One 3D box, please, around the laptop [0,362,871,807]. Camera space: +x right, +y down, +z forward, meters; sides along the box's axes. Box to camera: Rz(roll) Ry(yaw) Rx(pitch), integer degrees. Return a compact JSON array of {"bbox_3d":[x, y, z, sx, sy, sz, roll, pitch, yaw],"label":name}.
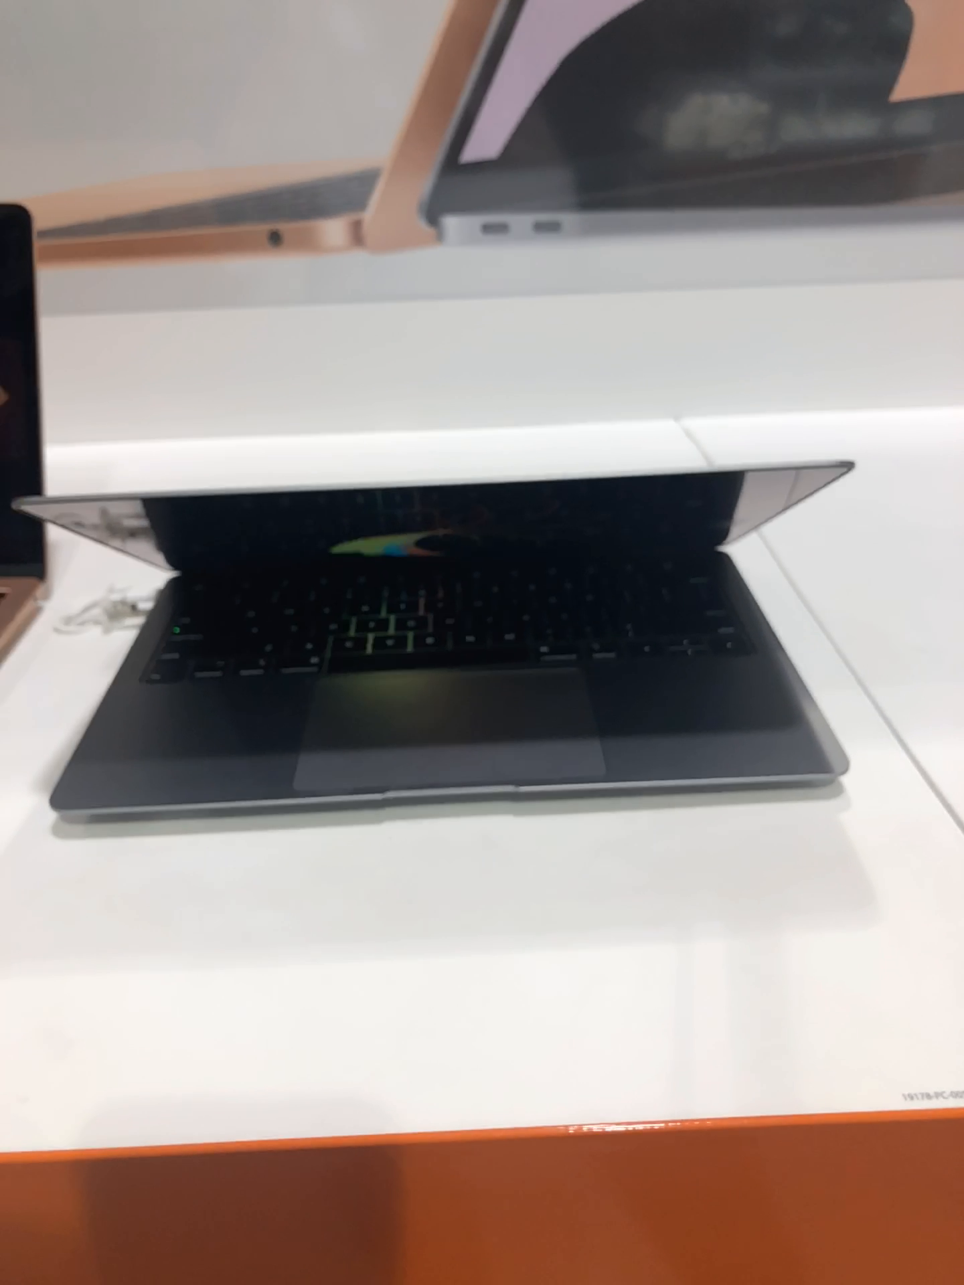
[{"bbox_3d":[-0.018,-0.039,0.462,0.288,0.102,0.200,-2,28,-1],"label":"laptop"}]
